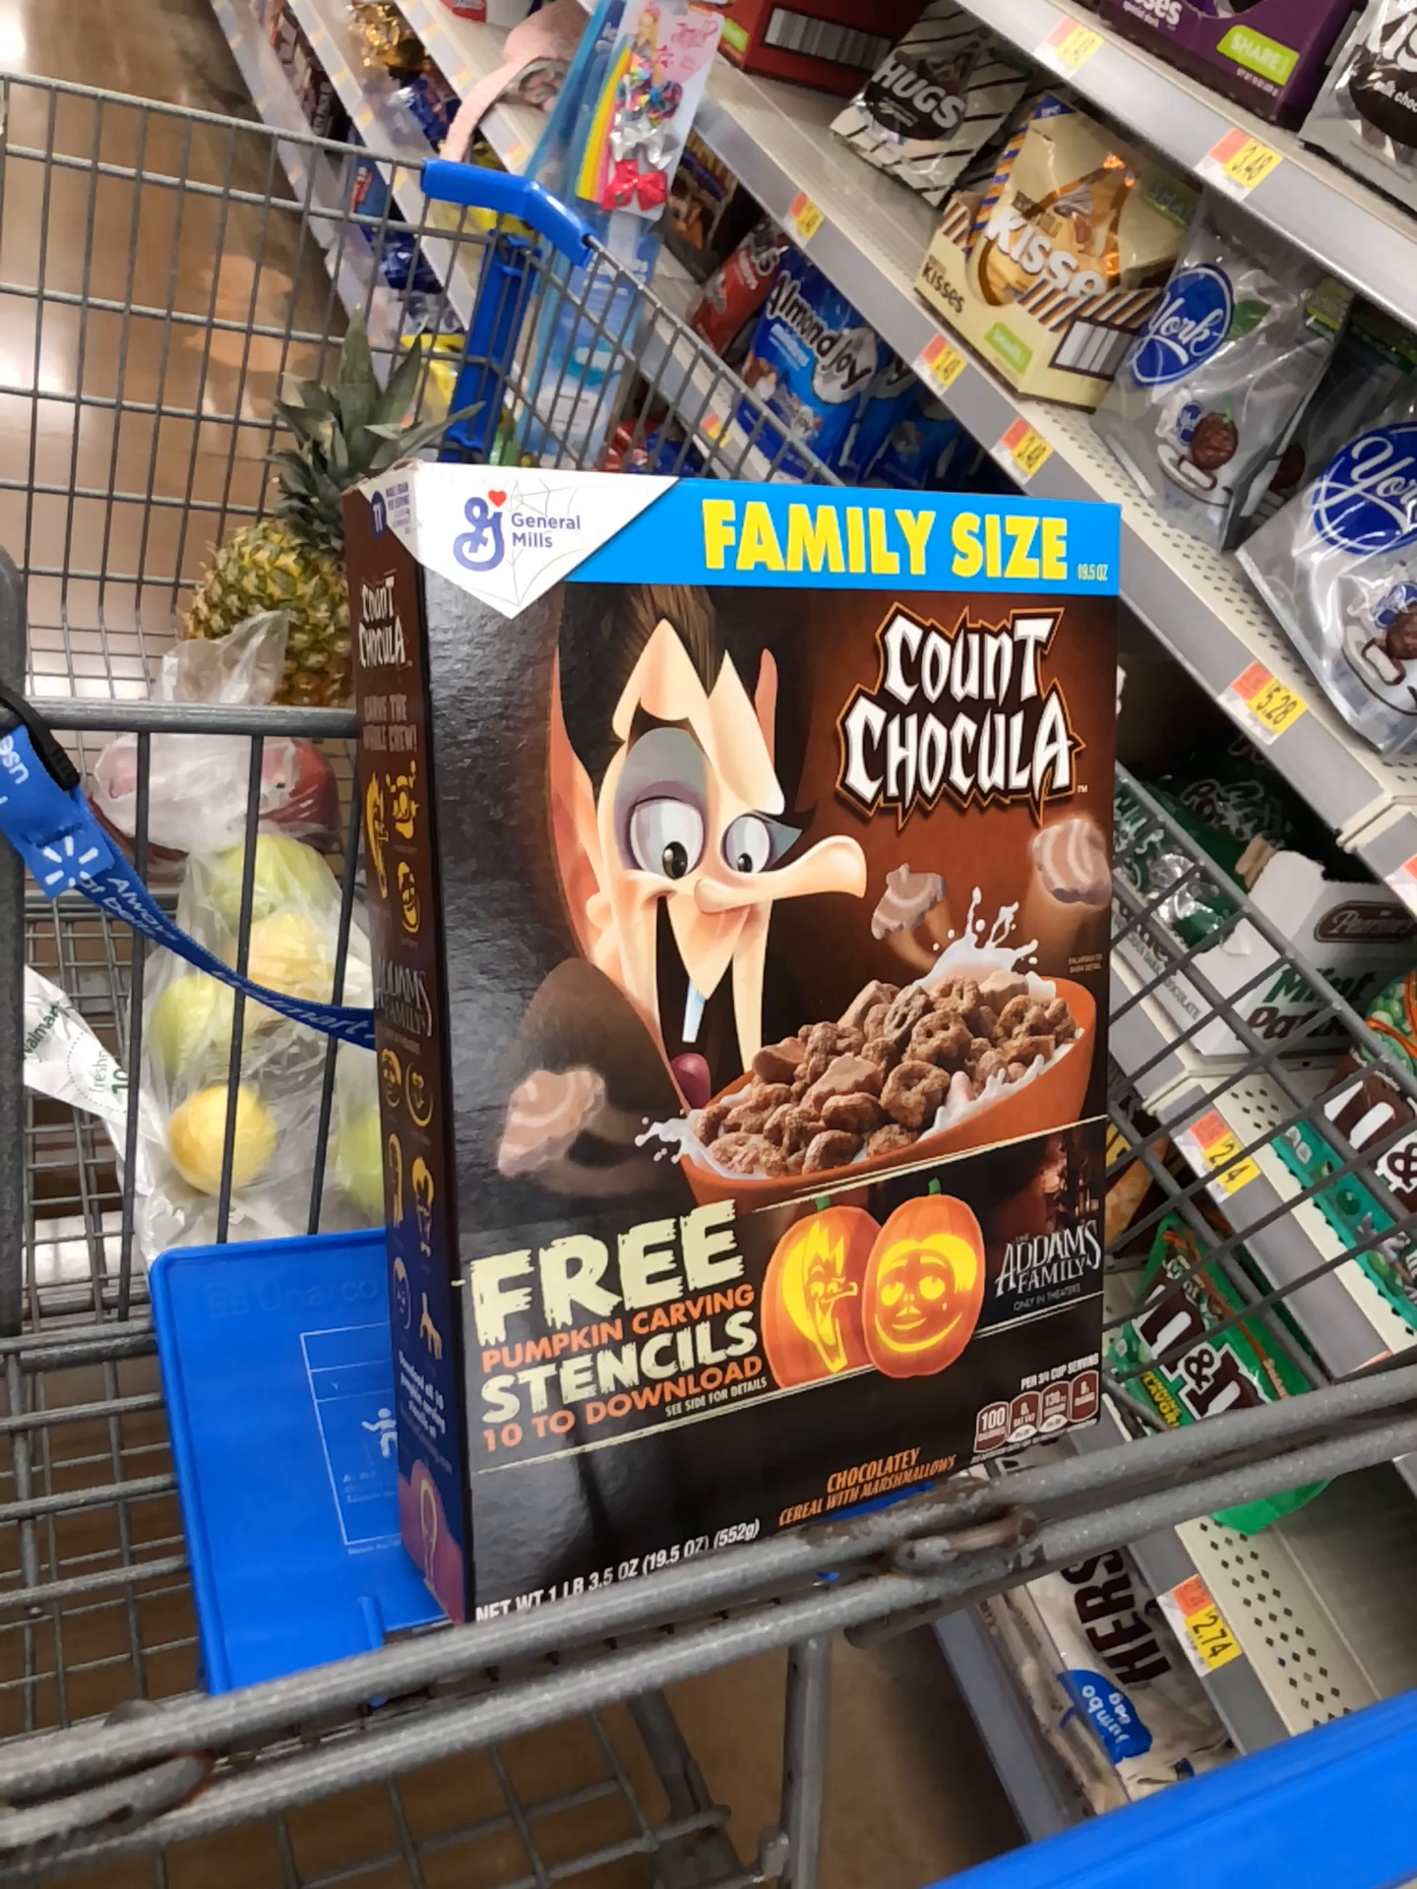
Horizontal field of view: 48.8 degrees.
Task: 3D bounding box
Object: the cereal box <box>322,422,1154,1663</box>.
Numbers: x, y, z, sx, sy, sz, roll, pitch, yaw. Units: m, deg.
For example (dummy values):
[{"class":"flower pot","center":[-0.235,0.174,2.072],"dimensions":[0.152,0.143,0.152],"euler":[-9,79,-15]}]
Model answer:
[{"class":"cereal box","center":[0.018,0.019,0.504],"dimensions":[0.251,0.330,0.080],"euler":[-6,11,-31]}]
